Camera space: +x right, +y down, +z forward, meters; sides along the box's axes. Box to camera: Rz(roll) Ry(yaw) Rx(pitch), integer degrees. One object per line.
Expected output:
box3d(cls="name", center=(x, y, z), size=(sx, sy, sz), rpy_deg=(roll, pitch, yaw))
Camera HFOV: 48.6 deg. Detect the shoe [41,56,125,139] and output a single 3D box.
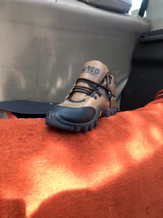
box3d(cls="shoe", center=(0.022, -0.050, 0.477), size=(0.110, 0.149, 0.271), rpy_deg=(11, 15, 22))
